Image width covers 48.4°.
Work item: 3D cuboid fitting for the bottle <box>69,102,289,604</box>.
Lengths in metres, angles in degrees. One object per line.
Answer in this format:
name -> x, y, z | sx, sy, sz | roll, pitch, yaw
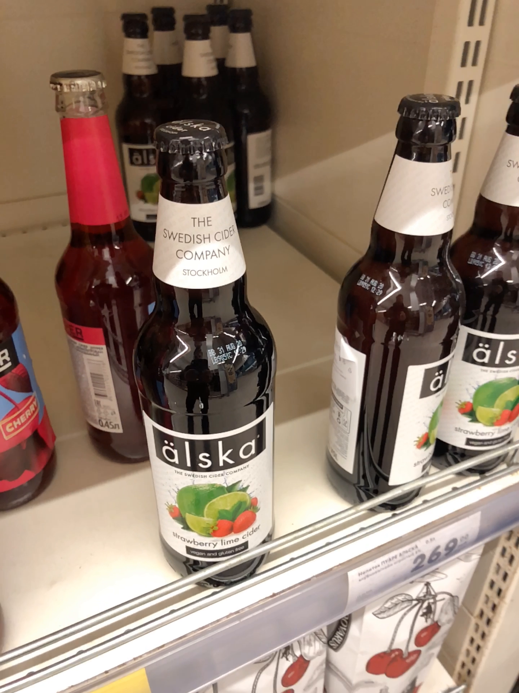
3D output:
bottle -> -0.028, 0.018, 0.279 | 0.070, 0.239, 0.070 | -1, 34, 0
